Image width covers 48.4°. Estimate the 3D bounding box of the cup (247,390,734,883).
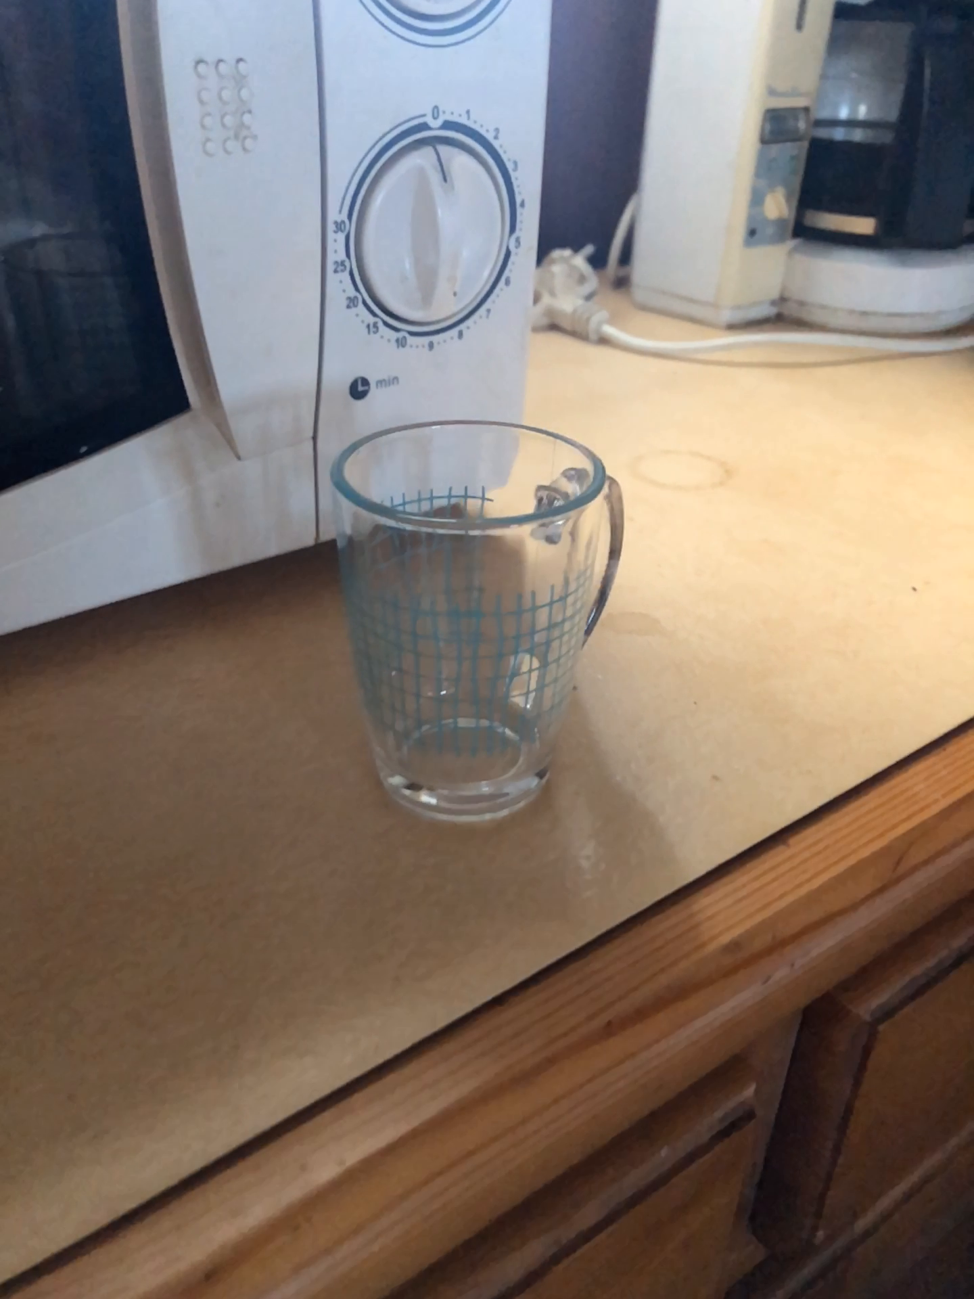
[{"bbox_3d":[0.000,-0.008,0.240,0.080,0.070,0.060,-22,39,-34],"label":"cup"}]
